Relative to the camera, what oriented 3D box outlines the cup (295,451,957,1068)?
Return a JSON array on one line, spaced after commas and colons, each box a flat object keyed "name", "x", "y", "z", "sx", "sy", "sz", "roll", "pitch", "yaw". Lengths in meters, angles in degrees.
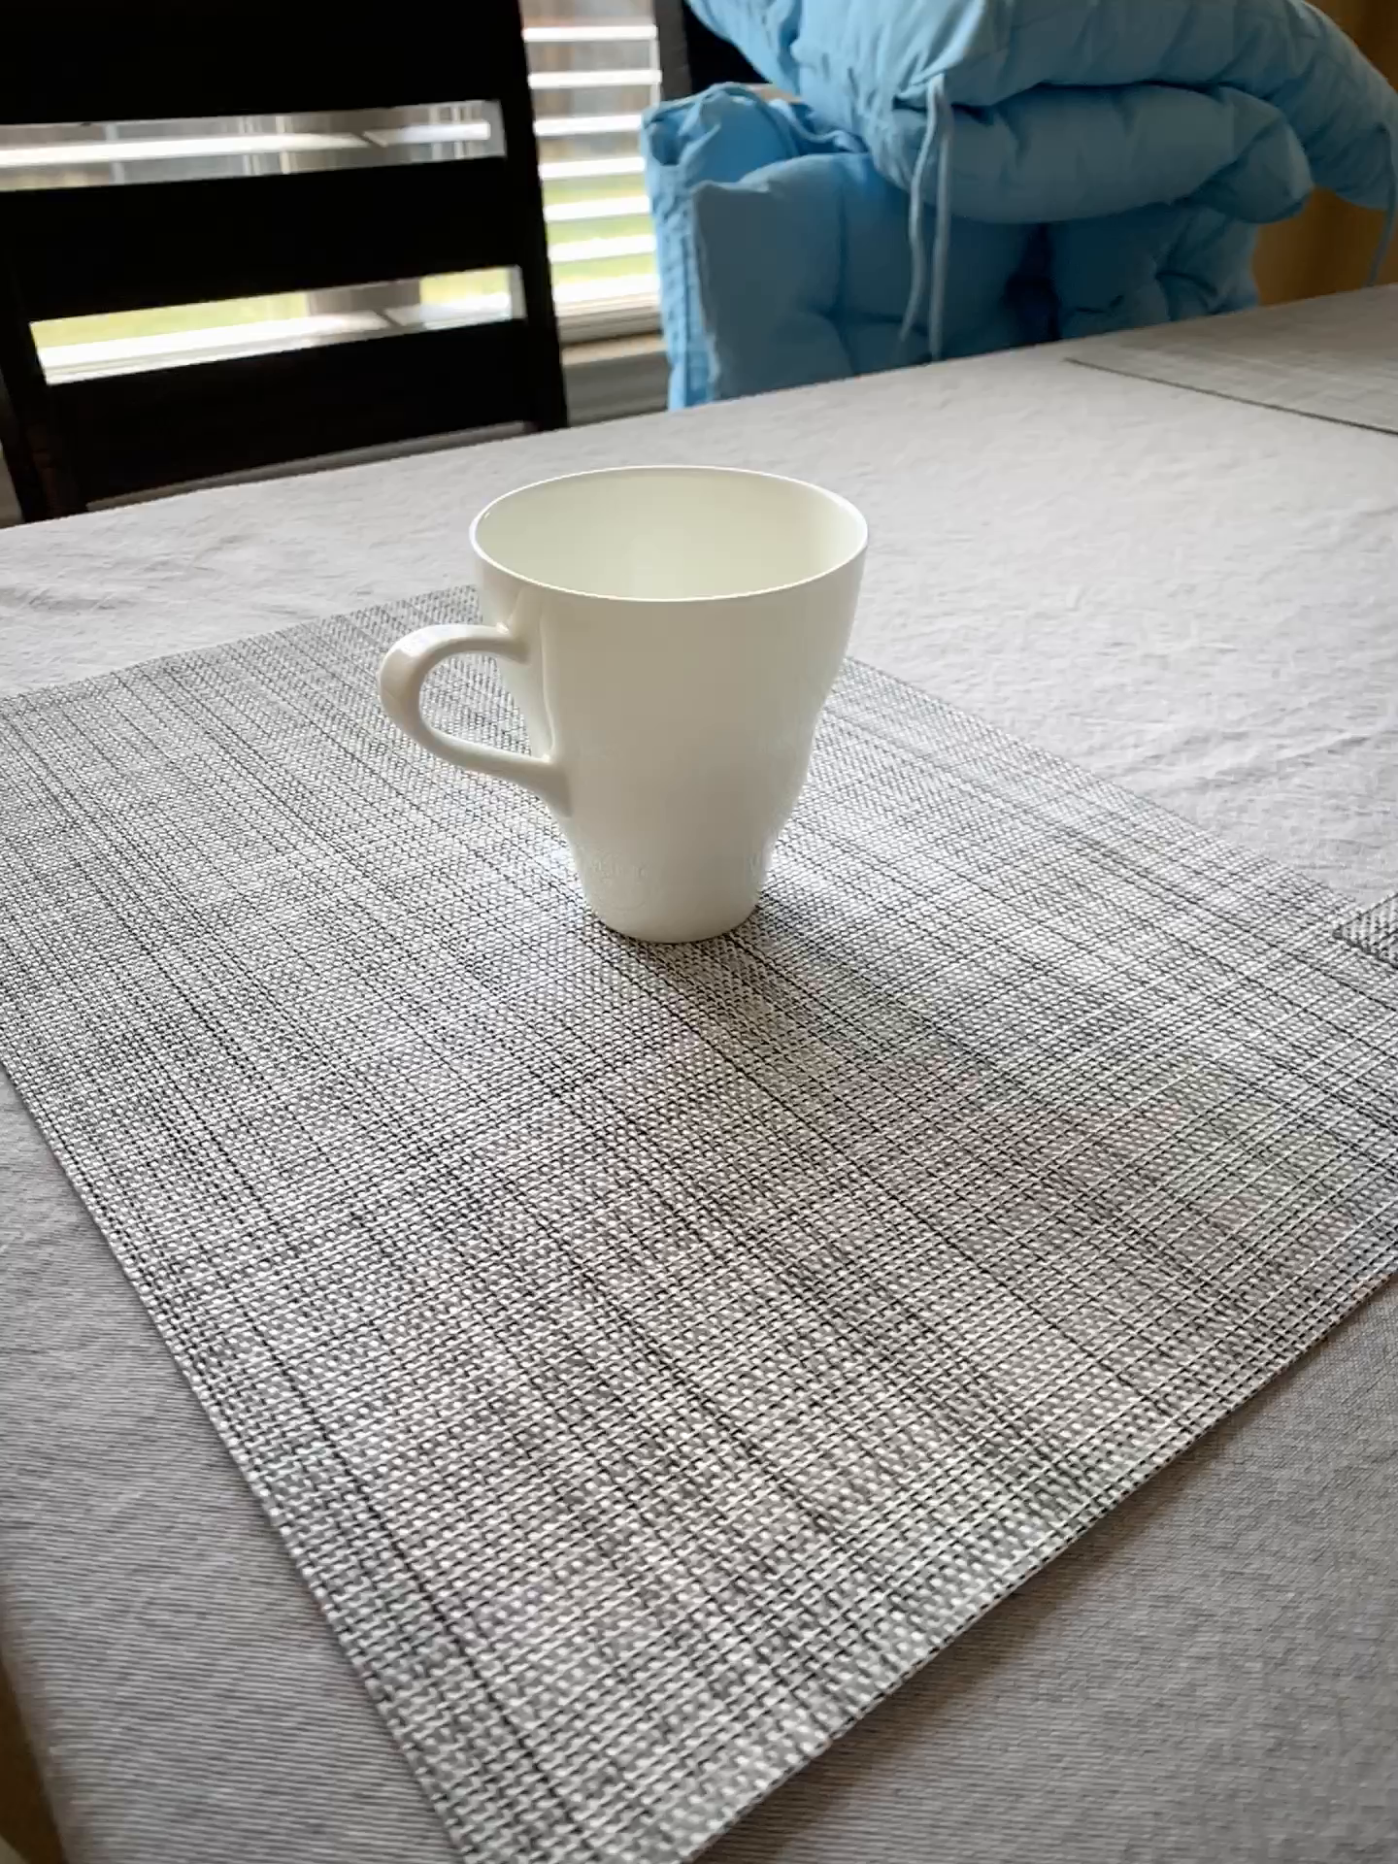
[{"name": "cup", "x": -0.017, "y": -0.052, "z": 0.365, "sx": 0.121, "sy": 0.098, "sz": 0.099, "roll": -22, "pitch": 38, "yaw": -31}]
